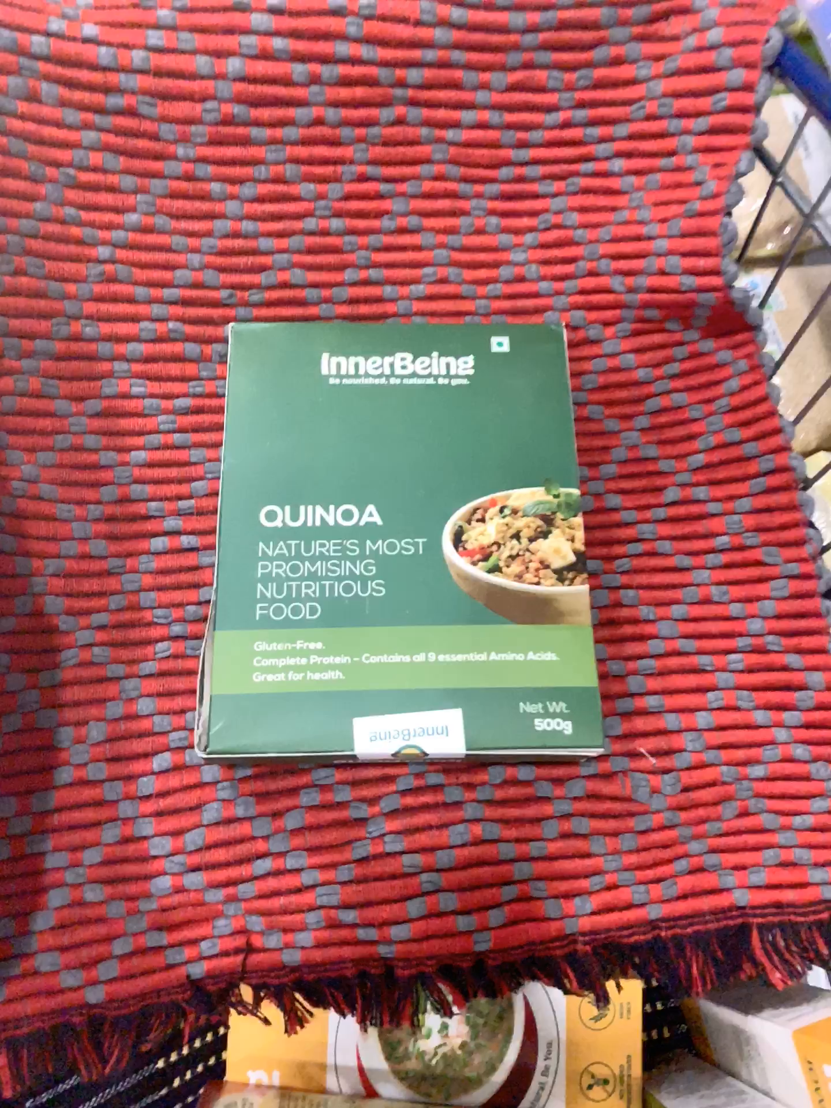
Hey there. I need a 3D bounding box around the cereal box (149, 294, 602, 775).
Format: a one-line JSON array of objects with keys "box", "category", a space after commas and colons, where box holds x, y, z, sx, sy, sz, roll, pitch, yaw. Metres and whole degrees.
[{"box": [-0.015, -0.010, 0.330, 0.150, 0.040, 0.180, -1, 71, 0], "category": "cereal box"}]
